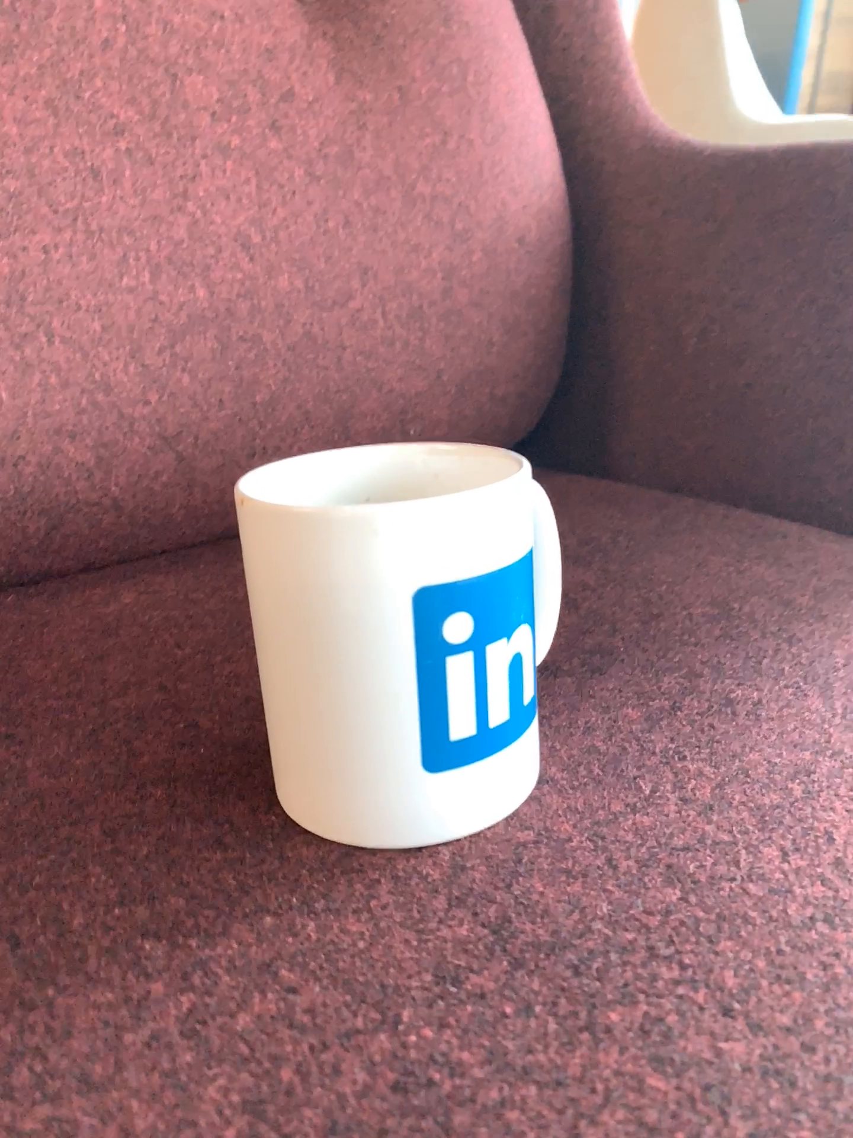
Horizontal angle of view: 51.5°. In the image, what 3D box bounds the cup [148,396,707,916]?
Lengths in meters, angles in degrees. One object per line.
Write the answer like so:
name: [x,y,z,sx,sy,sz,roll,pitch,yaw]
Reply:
cup: [0.003,0.009,0.251,0.120,0.089,0.090,-18,23,-32]
